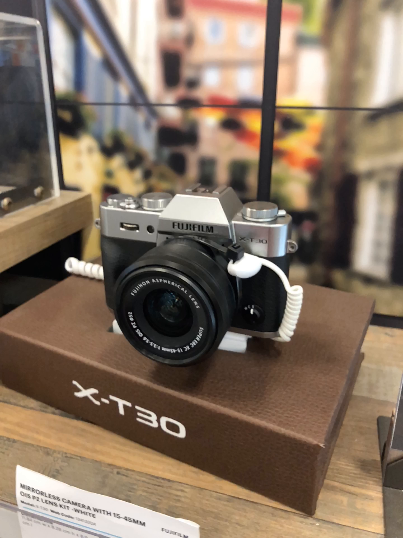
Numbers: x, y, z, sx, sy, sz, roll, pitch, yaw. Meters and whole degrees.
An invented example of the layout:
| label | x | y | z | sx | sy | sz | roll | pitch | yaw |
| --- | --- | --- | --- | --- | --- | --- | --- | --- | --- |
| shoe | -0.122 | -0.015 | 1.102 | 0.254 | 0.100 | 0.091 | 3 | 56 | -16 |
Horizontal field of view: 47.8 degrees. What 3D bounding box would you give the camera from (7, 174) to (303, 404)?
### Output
| label | x | y | z | sx | sy | sz | roll | pitch | yaw |
| --- | --- | --- | --- | --- | --- | --- | --- | --- | --- |
| camera | -0.019 | 0.000 | 0.258 | 0.130 | 0.080 | 0.090 | 9 | 25 | 20 |
